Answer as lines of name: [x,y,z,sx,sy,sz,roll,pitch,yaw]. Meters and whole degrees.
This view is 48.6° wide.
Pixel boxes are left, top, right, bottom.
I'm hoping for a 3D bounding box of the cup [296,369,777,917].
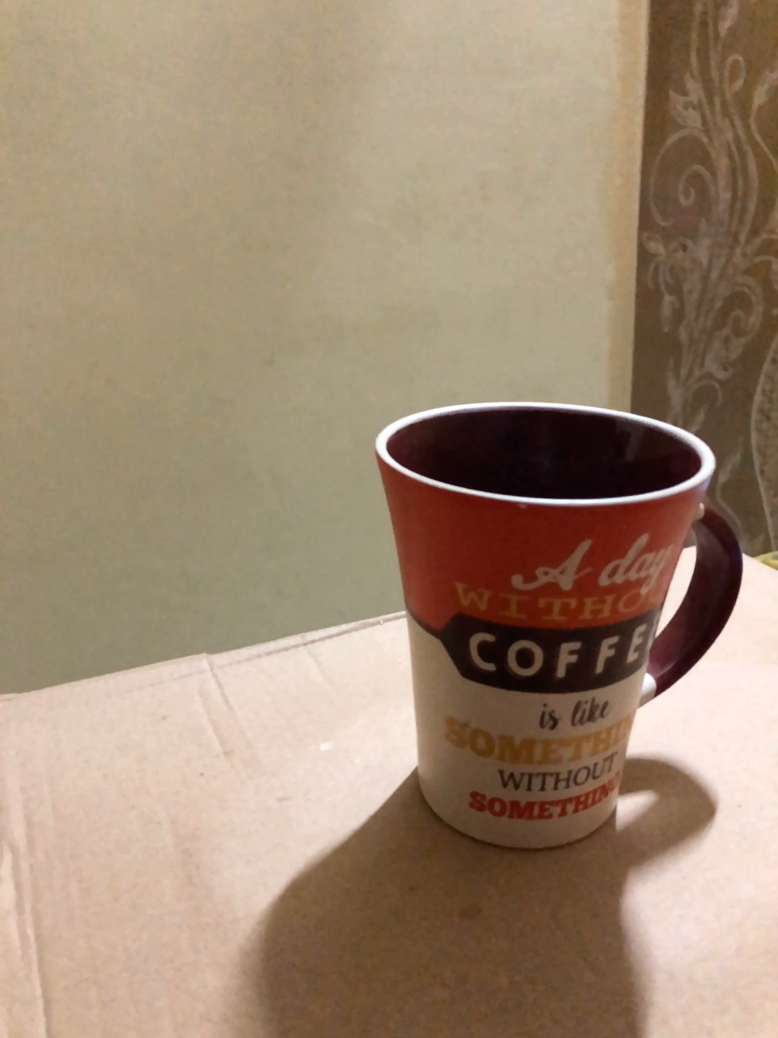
cup: [0.053,0.023,0.267,0.130,0.109,0.100,-11,21,-19]
